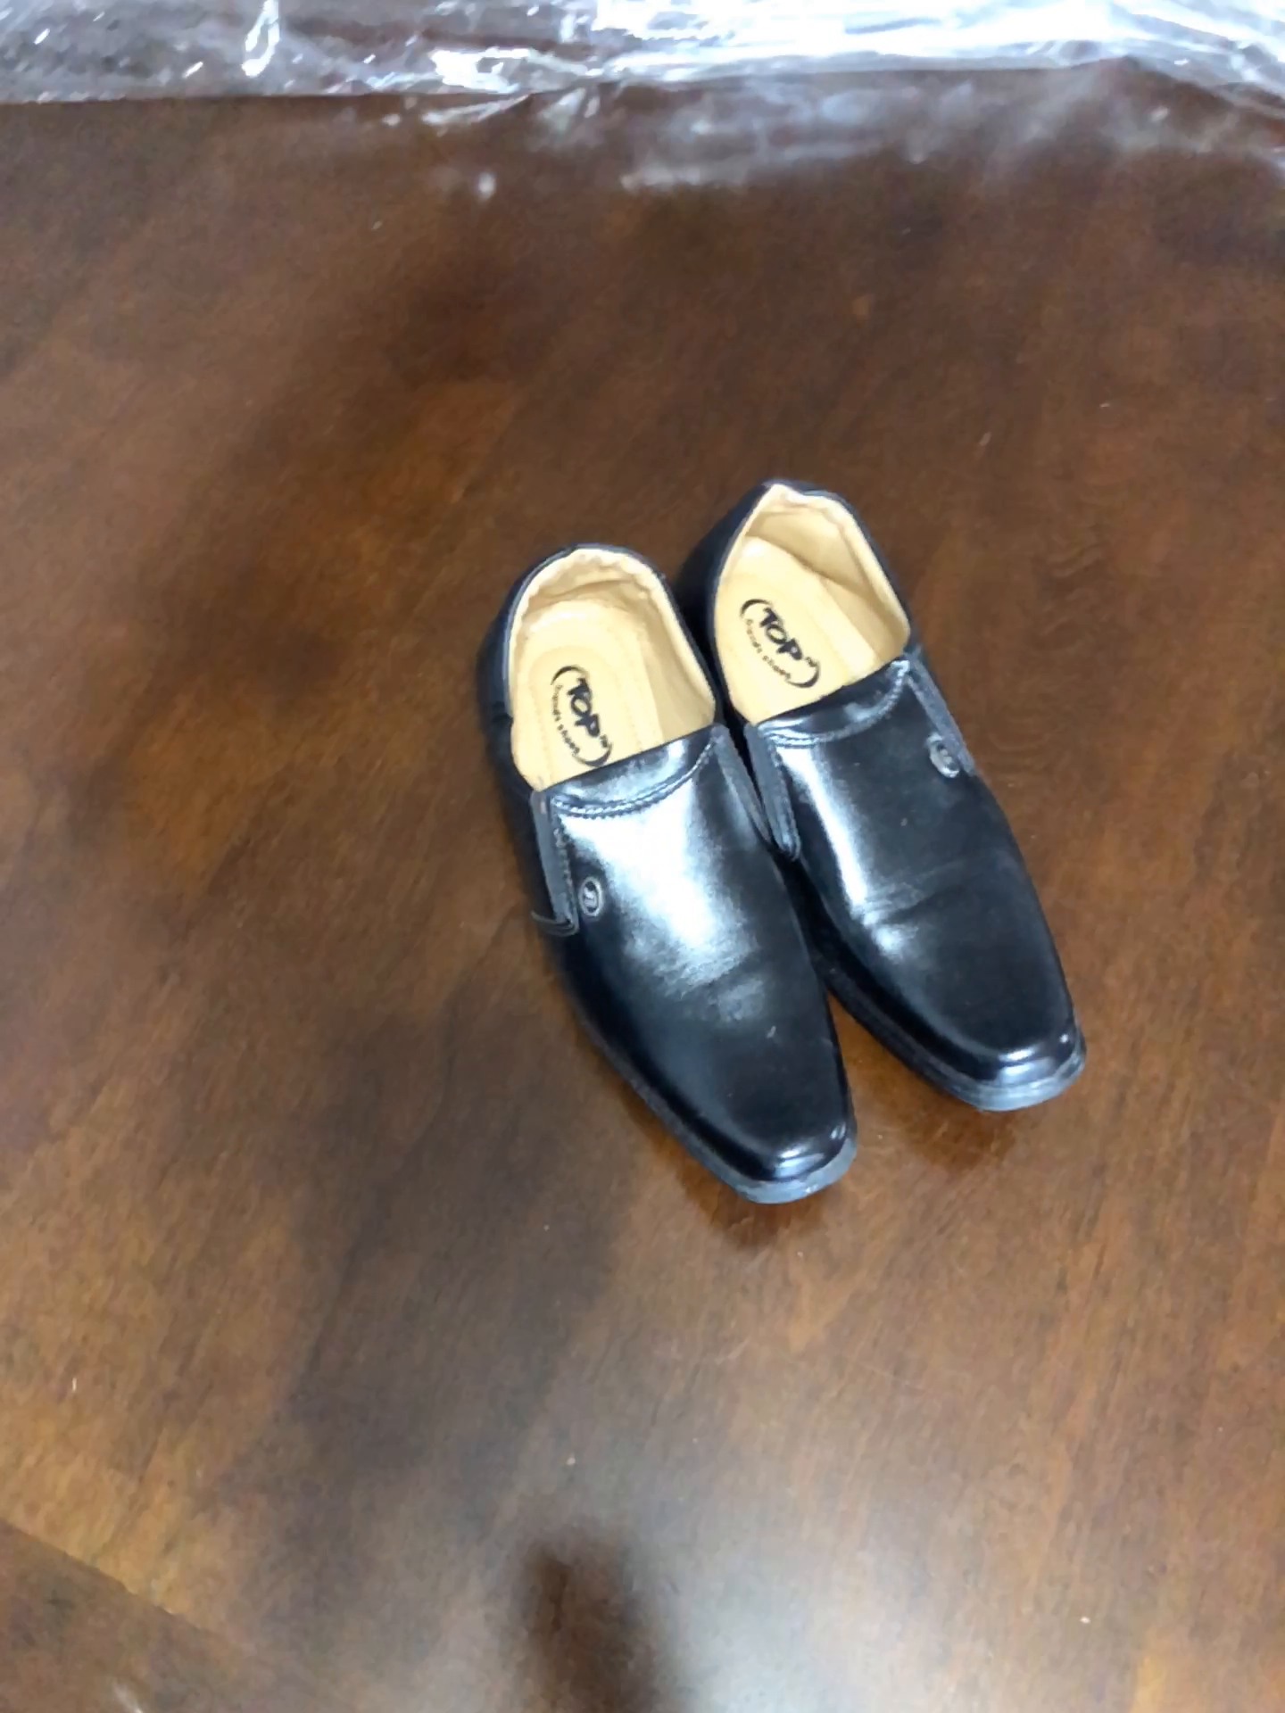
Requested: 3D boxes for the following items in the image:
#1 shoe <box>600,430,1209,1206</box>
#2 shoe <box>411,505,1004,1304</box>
[{"bbox_3d":[0.072,-0.017,0.478,0.090,0.090,0.230,-21,65,-11],"label":"shoe"},{"bbox_3d":[0.011,0.010,0.460,0.090,0.080,0.230,-21,65,-11],"label":"shoe"}]
